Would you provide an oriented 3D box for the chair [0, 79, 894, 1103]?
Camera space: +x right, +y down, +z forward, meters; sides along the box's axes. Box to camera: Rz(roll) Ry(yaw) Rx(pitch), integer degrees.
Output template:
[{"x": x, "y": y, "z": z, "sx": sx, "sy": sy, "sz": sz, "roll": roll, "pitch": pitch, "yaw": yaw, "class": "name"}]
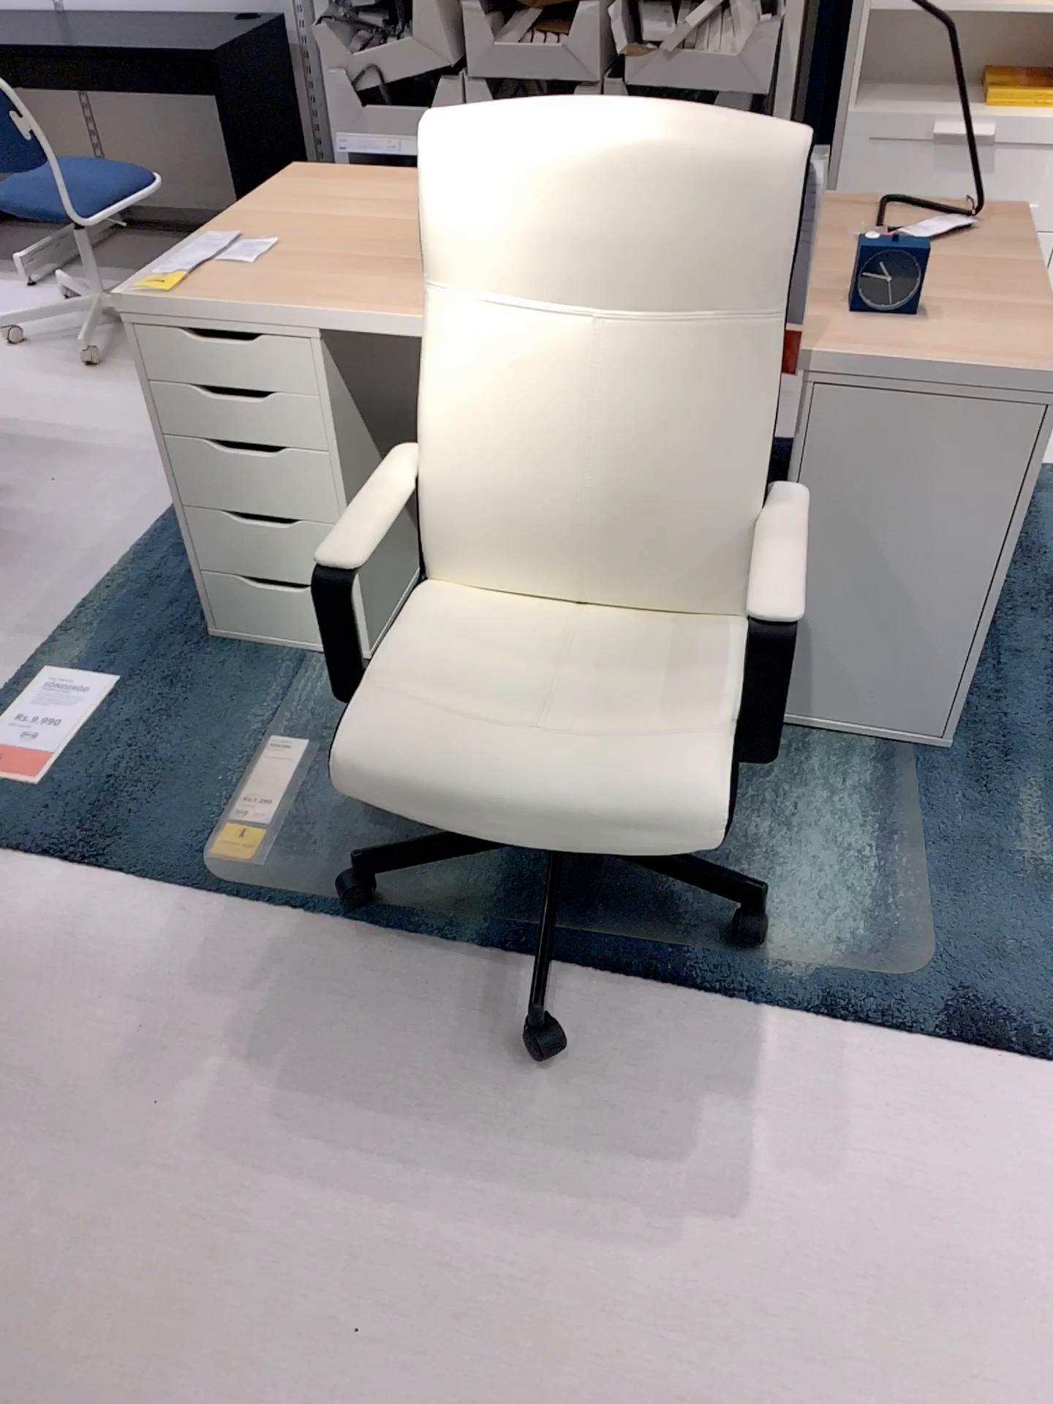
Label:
[{"x": 0.001, "y": -0.141, "z": 1.325, "sx": 0.690, "sy": 0.956, "sz": 0.703, "roll": 8, "pitch": 43, "yaw": 12, "class": "chair"}]
